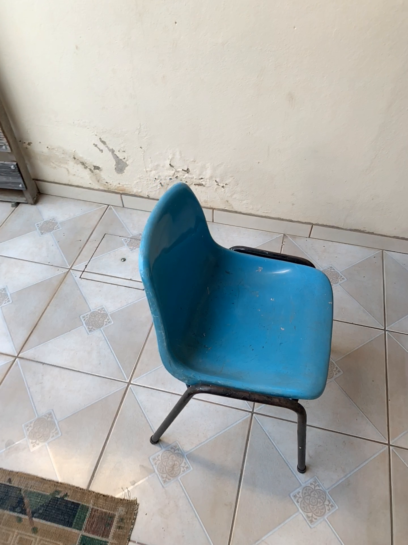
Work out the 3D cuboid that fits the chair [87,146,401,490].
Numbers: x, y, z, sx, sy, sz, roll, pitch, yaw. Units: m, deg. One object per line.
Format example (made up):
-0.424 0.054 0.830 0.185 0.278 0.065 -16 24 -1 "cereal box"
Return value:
0.117 0.149 1.128 0.530 0.687 0.552 11 52 9 "chair"
